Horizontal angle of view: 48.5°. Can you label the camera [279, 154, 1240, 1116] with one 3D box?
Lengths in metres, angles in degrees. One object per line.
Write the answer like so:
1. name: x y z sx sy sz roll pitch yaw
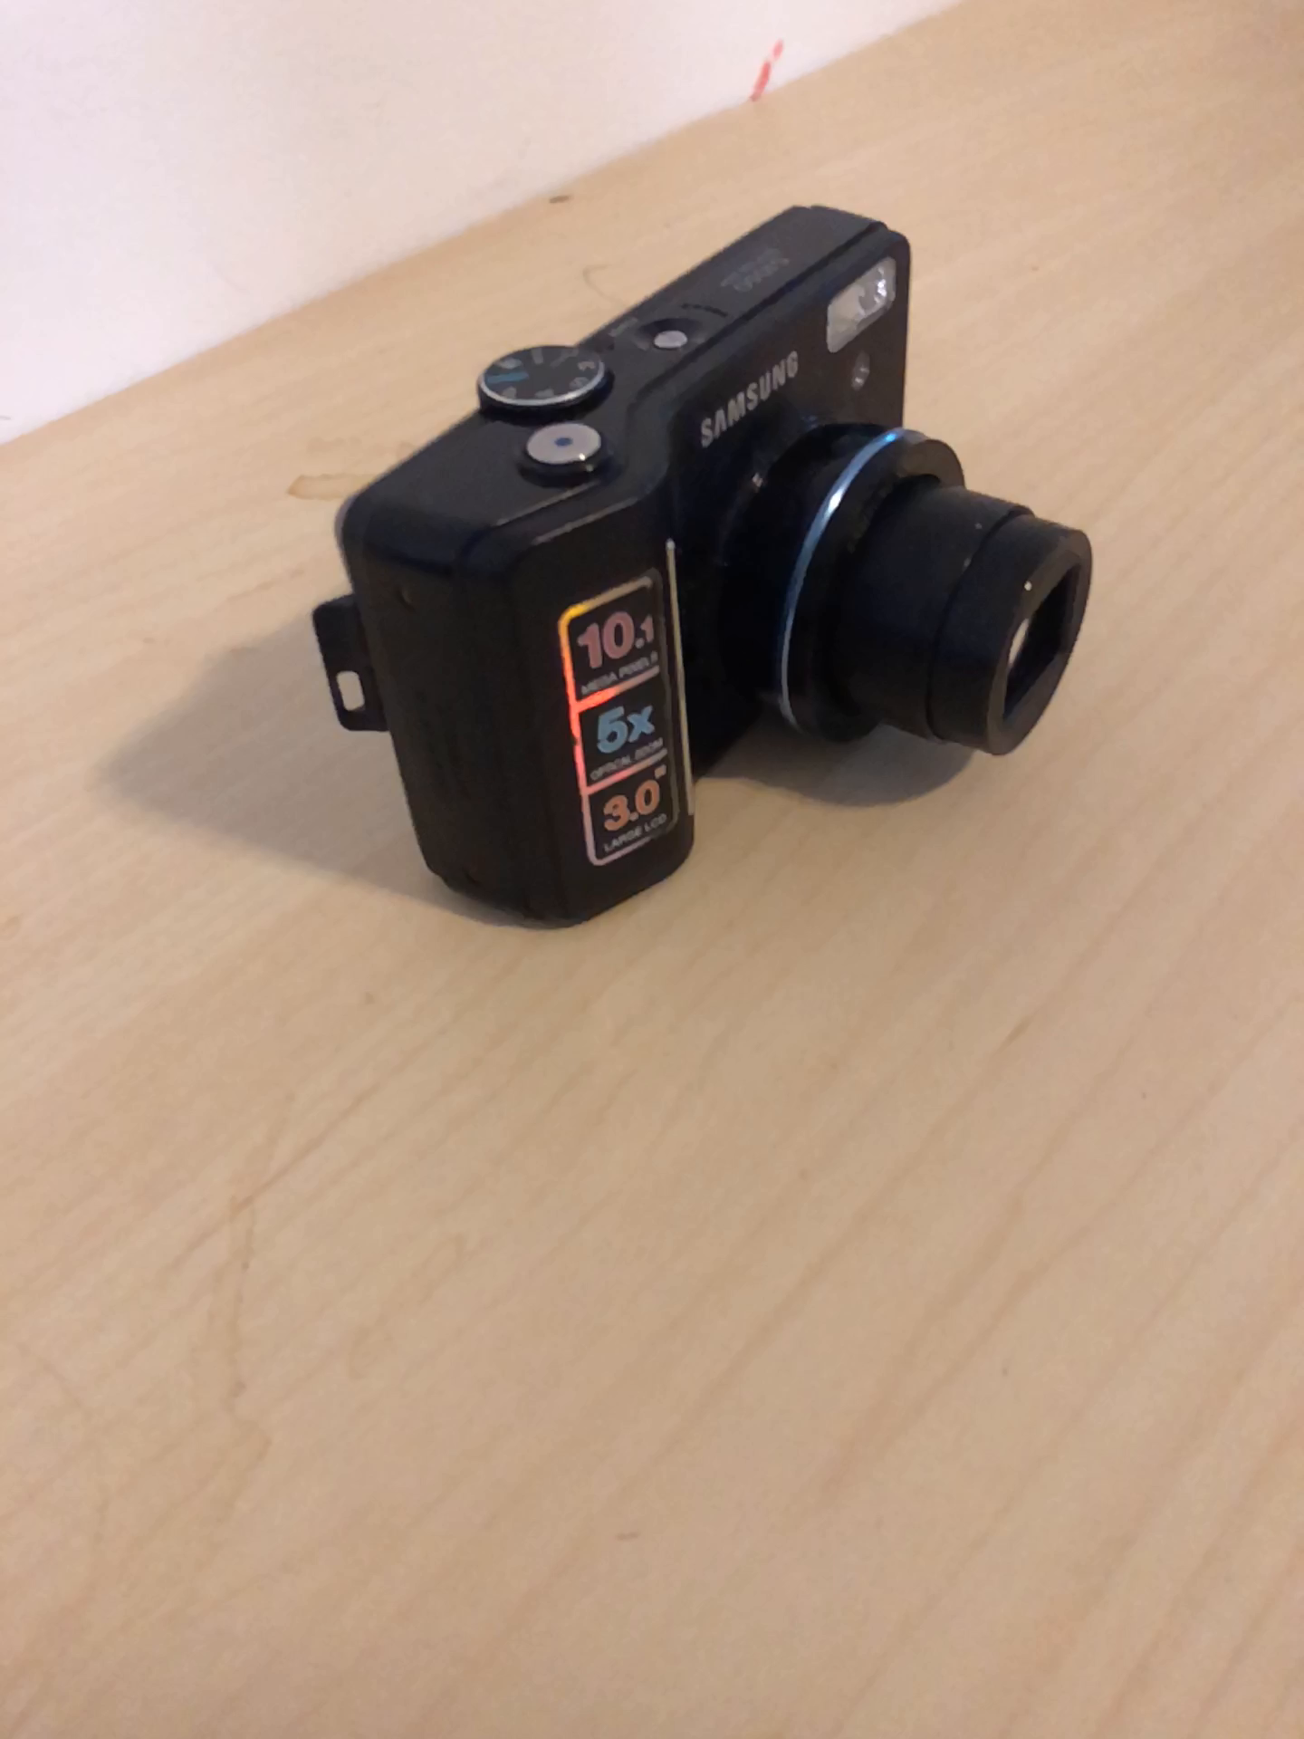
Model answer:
1. camera: 0.020 -0.040 0.206 0.070 0.070 0.110 27 54 27
